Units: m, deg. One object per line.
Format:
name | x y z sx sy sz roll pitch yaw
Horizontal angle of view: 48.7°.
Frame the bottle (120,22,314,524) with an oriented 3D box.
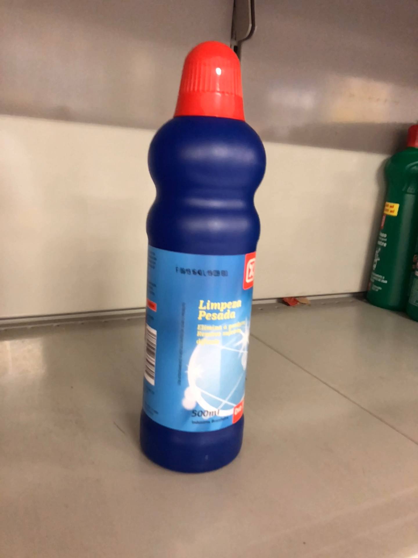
bottle | -0.003 0.001 0.261 0.070 0.239 0.070 3 14 -1
